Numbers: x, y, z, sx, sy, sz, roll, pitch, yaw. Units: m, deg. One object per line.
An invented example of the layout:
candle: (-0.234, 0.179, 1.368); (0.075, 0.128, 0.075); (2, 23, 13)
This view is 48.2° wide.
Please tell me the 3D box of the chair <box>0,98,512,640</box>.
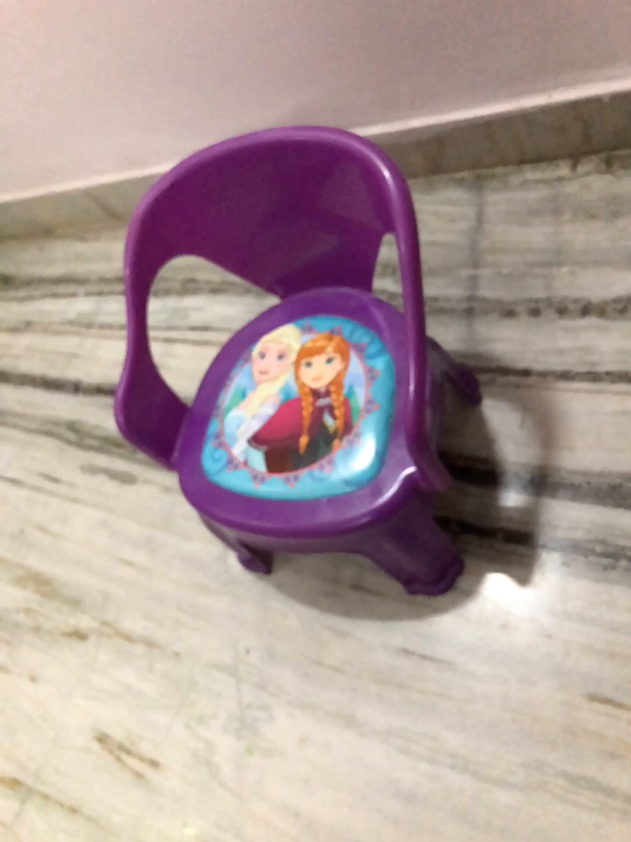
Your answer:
chair: (-0.031, -0.032, 0.750); (0.350, 0.349, 0.391); (4, 67, 29)
